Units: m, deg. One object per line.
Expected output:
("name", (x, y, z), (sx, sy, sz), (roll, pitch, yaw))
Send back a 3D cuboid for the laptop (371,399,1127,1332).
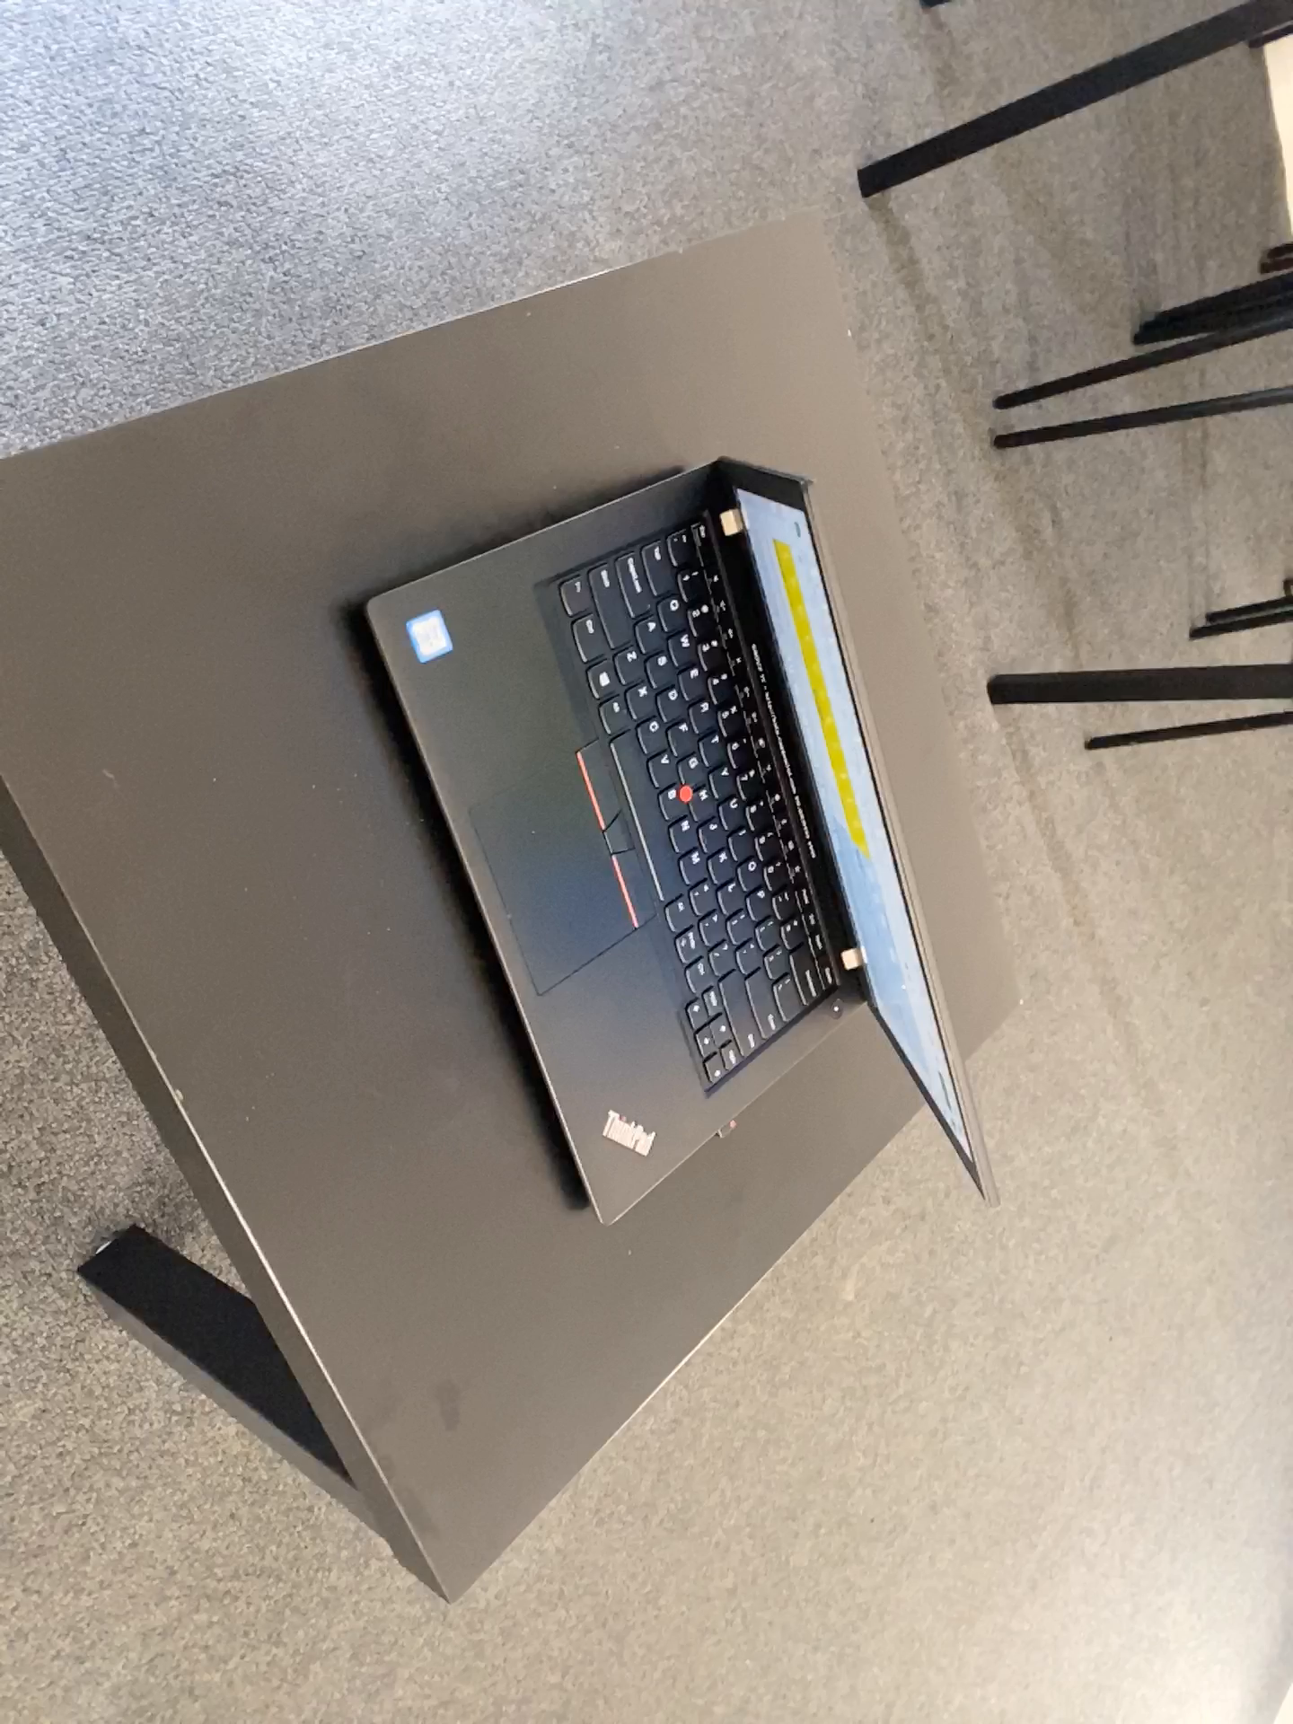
("laptop", (0.065, -0.005, 0.621), (0.224, 0.165, 0.332), (-33, 115, -35))
